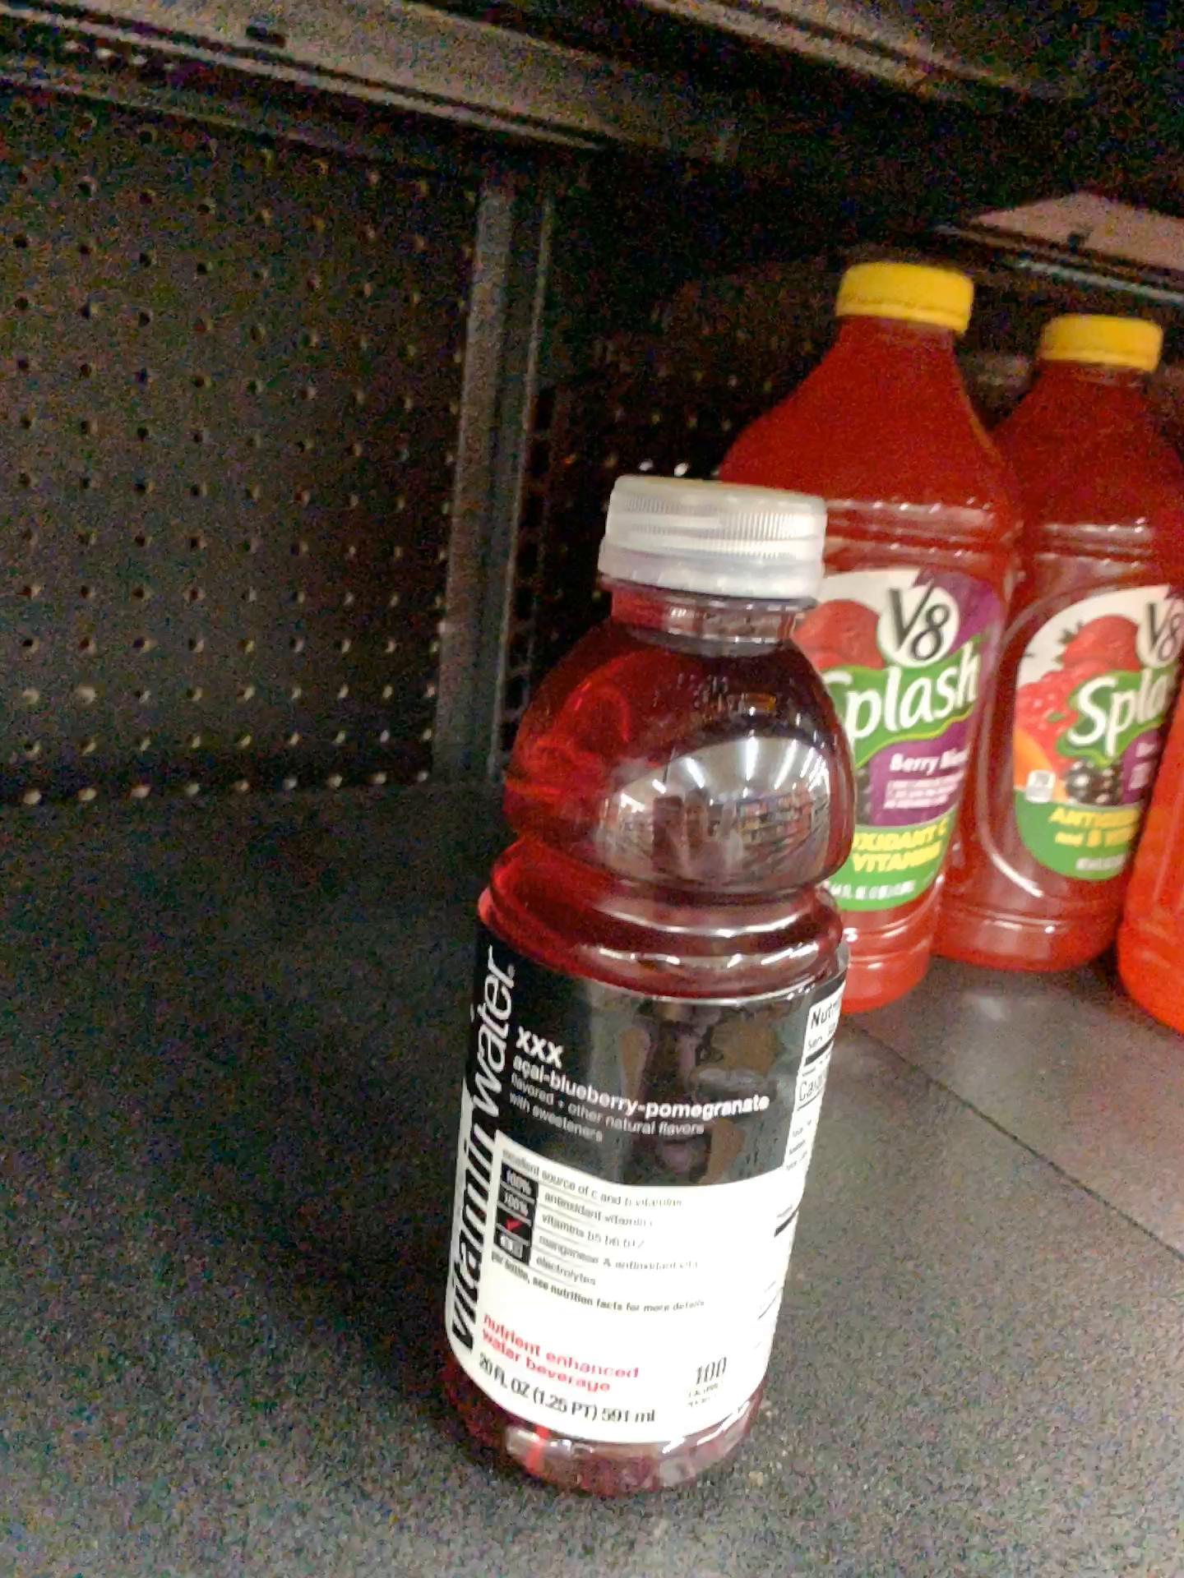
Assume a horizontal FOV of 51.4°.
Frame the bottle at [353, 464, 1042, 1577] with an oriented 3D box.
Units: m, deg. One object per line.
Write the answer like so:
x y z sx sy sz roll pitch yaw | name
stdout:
0.016 0.035 0.240 0.080 0.179 0.080 7 18 -2 | bottle
